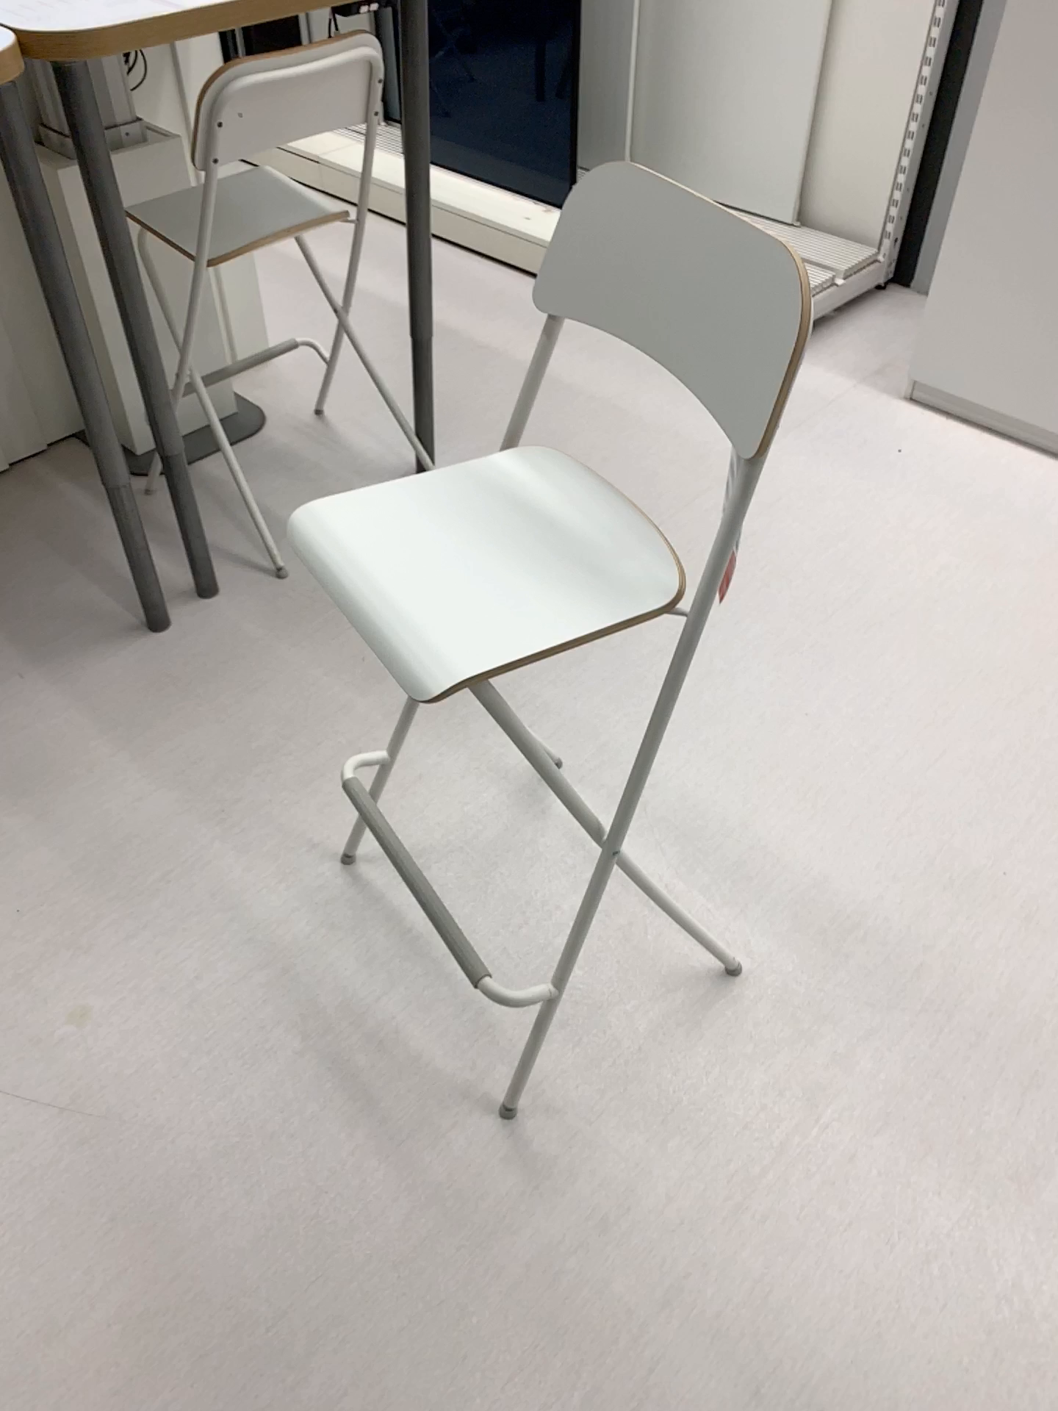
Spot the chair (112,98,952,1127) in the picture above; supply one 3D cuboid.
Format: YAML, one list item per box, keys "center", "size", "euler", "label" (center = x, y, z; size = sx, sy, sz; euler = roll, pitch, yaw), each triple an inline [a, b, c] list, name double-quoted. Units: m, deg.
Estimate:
- center: [-0.023, -0.066, 1.235]
  size: [0.500, 0.936, 0.522]
  euler: [-24, 50, -22]
  label: "chair"
